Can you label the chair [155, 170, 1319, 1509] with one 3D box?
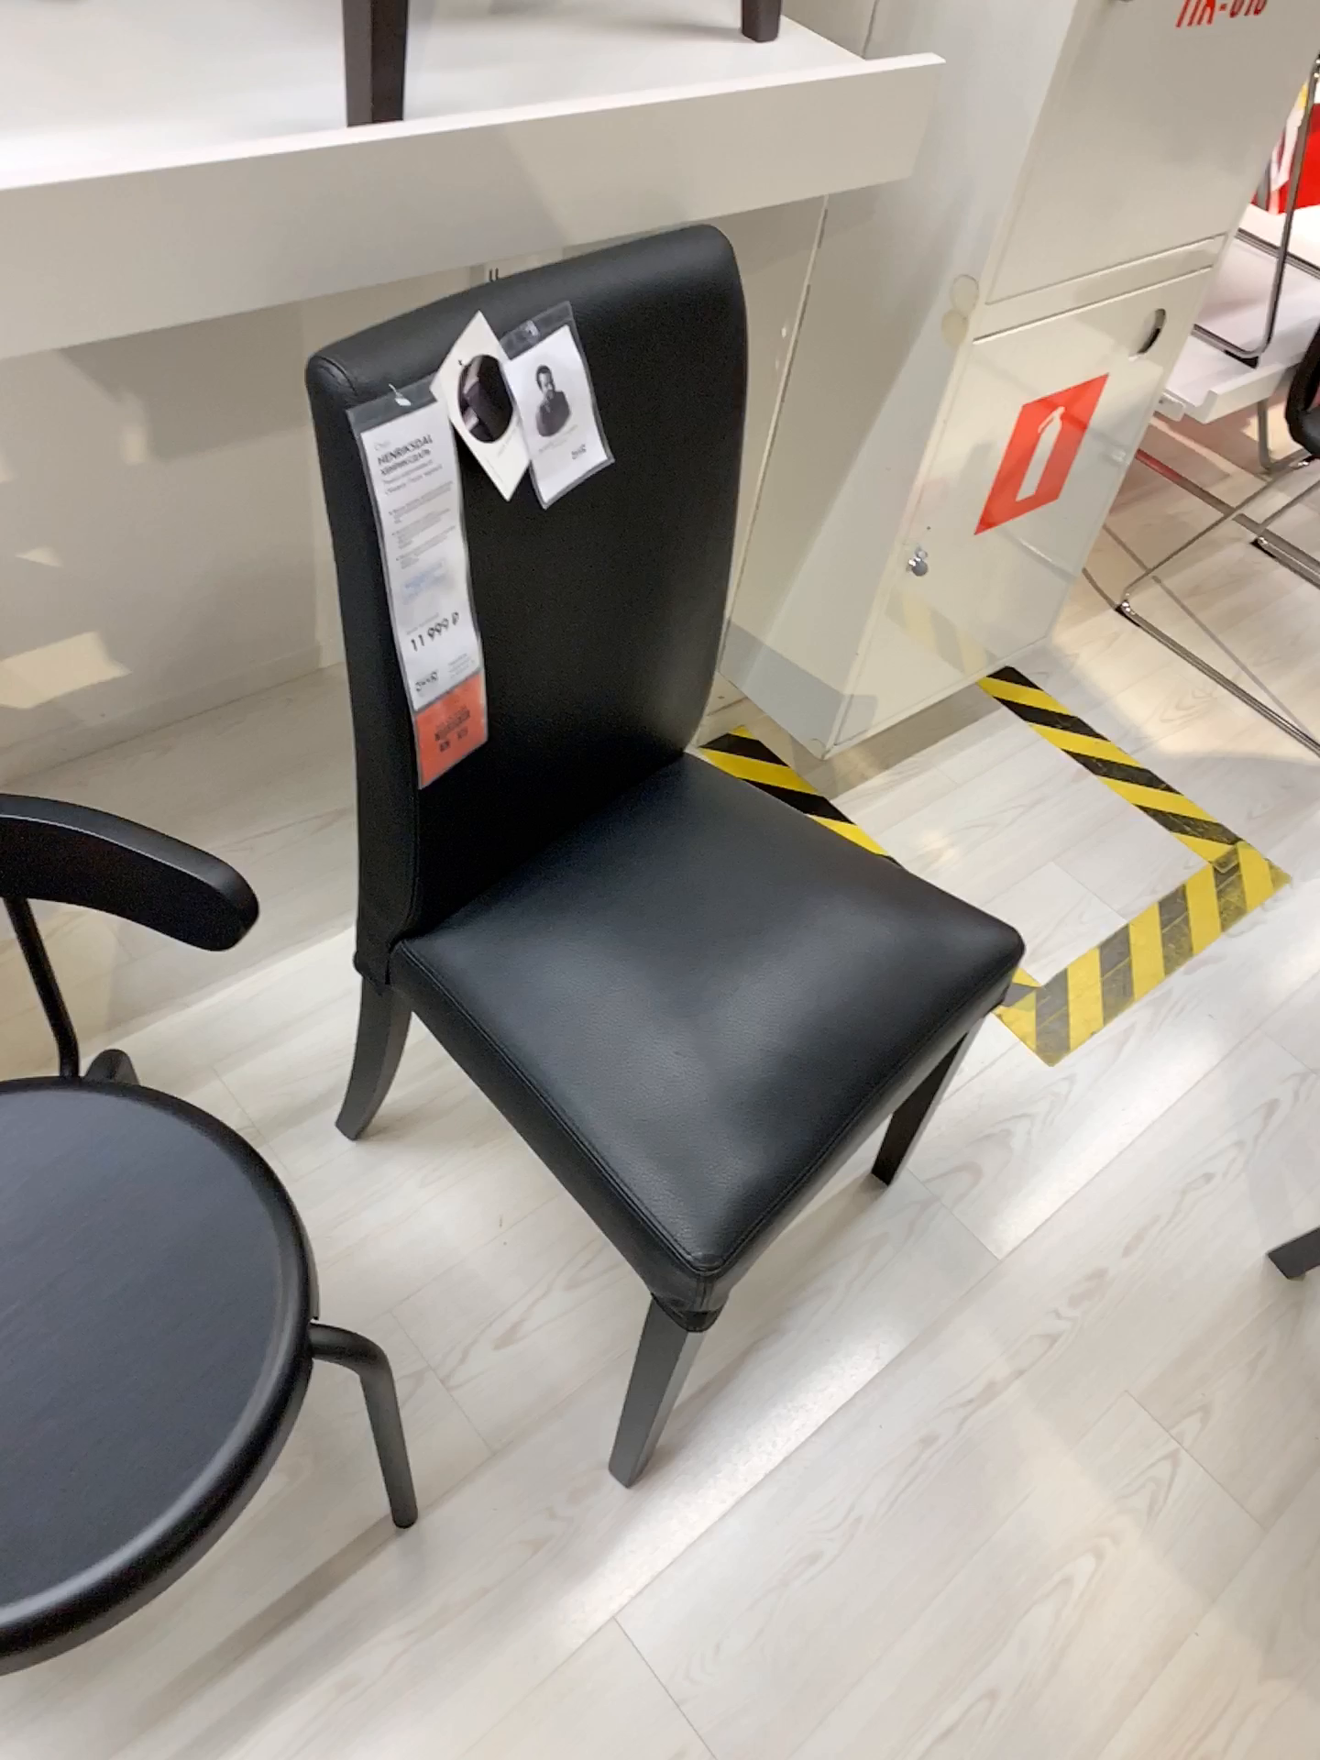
[{"bbox_3d":[0.010,0.000,1.286,0.601,0.975,0.582,36,51,20],"label":"chair"}]
